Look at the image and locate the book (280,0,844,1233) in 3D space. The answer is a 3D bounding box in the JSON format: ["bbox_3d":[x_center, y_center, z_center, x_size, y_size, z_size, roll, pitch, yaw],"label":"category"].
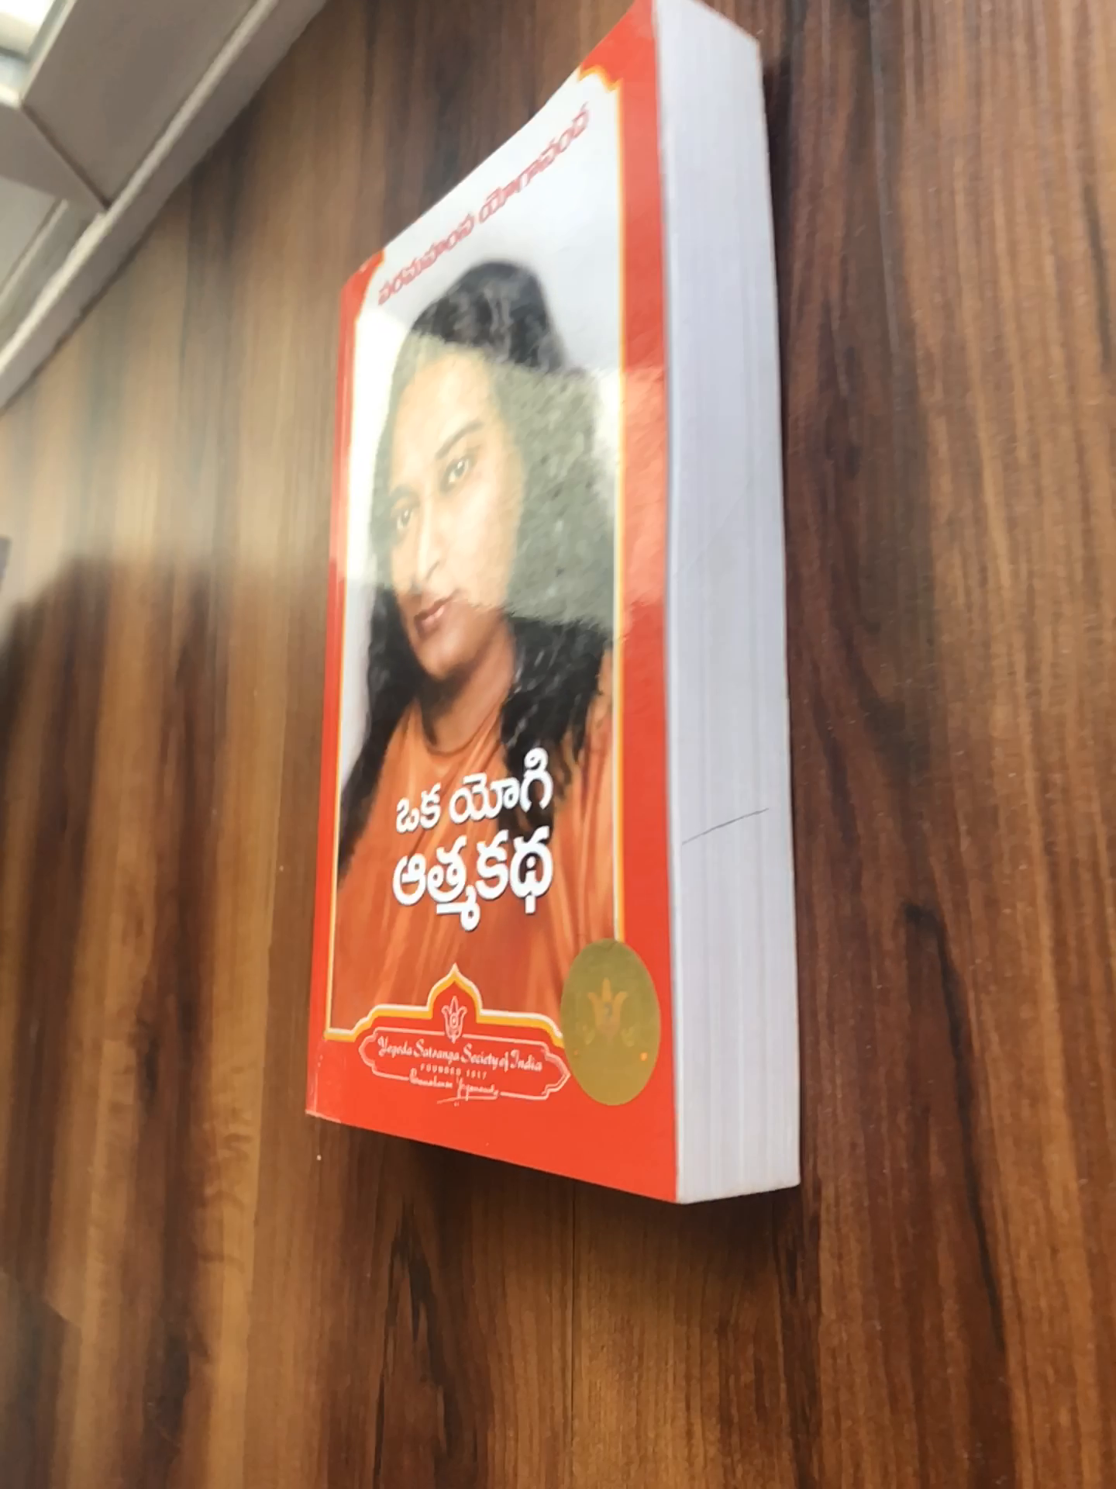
[{"bbox_3d":[-0.009,-0.026,0.262,0.149,0.030,0.214,-11,75,53],"label":"book"}]
